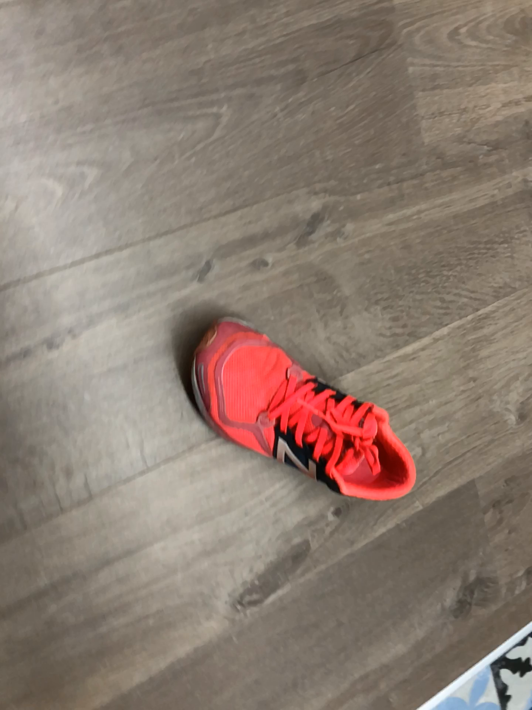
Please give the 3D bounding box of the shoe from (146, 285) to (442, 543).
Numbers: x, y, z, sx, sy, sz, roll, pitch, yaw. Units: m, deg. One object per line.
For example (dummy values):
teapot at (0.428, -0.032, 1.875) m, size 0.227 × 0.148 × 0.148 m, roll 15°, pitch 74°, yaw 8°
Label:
shoe at (0.028, 0.053, 0.536) m, size 0.241 × 0.110 × 0.100 m, roll 40°, pitch 81°, yaw -25°
